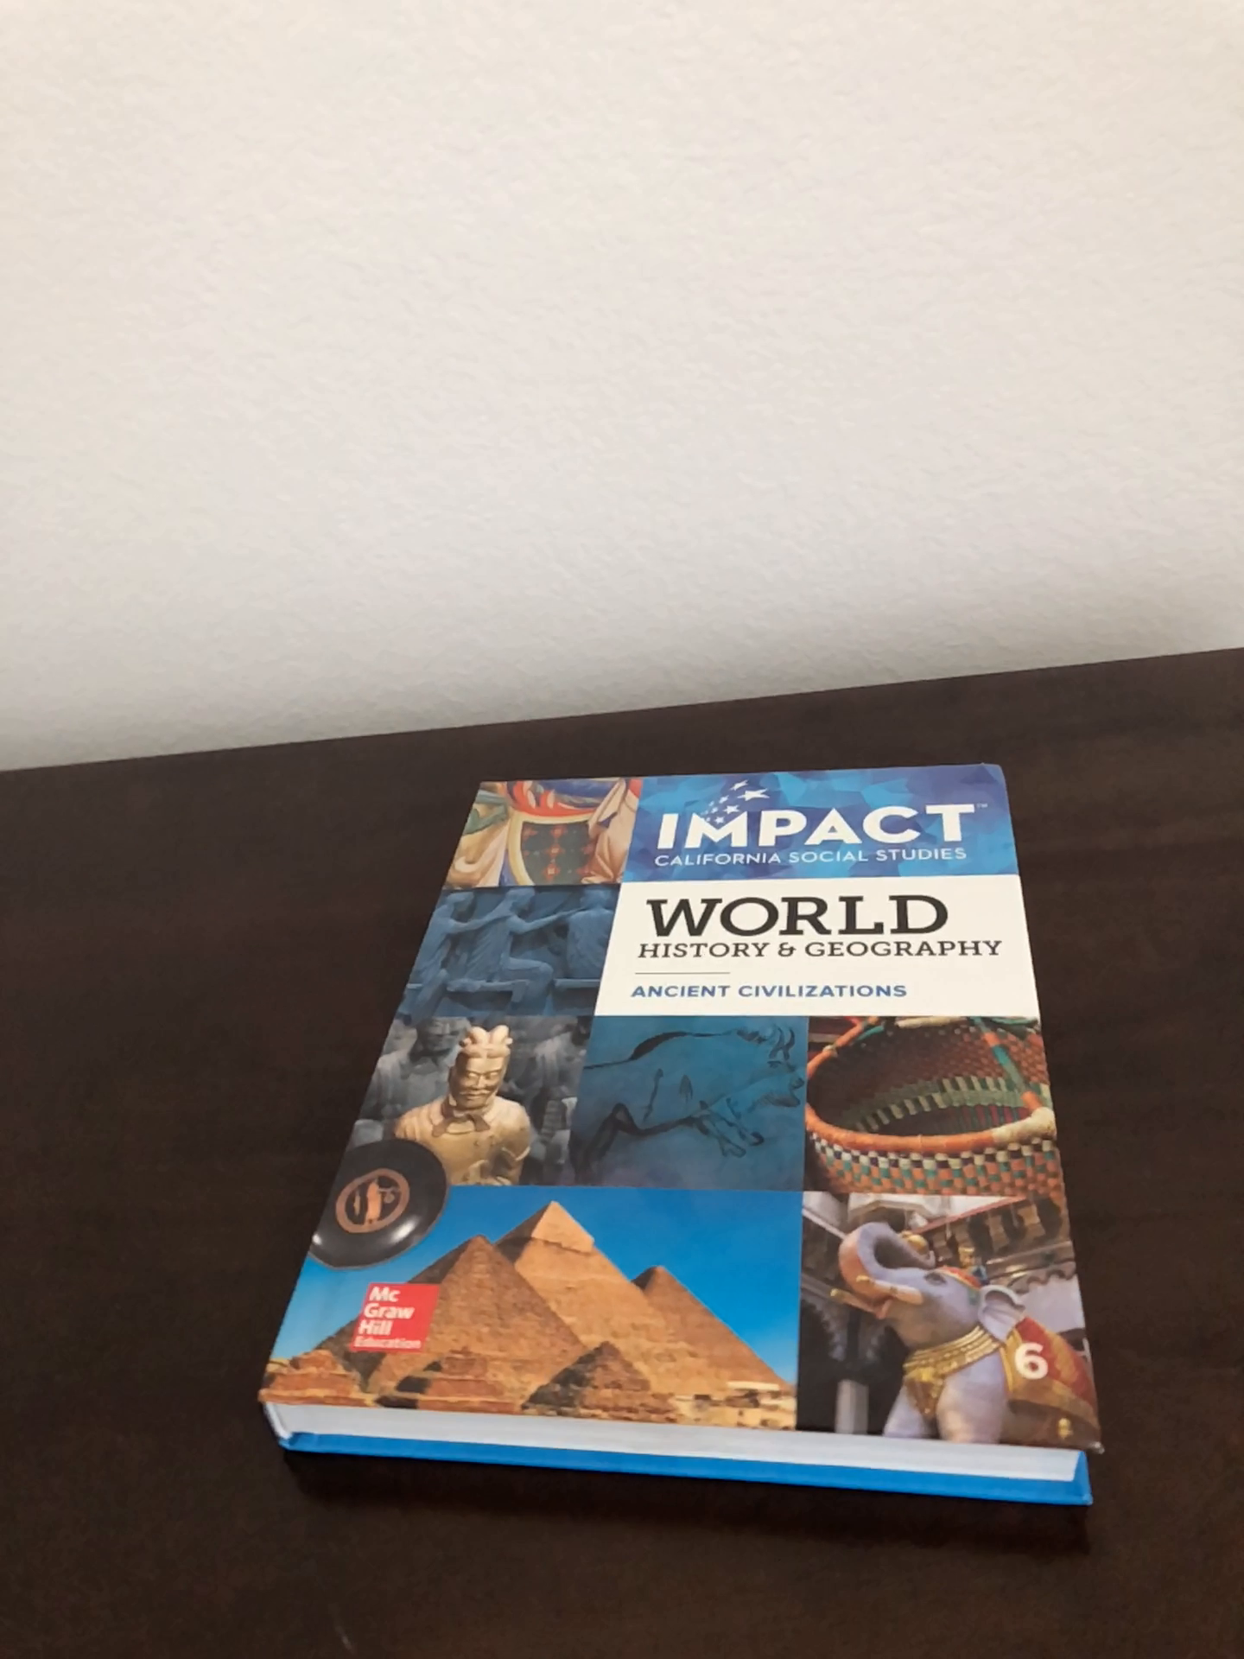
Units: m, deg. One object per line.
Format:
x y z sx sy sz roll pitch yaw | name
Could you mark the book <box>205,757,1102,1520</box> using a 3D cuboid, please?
0.023 0.073 0.462 0.227 0.030 0.286 -1 38 11 | book
